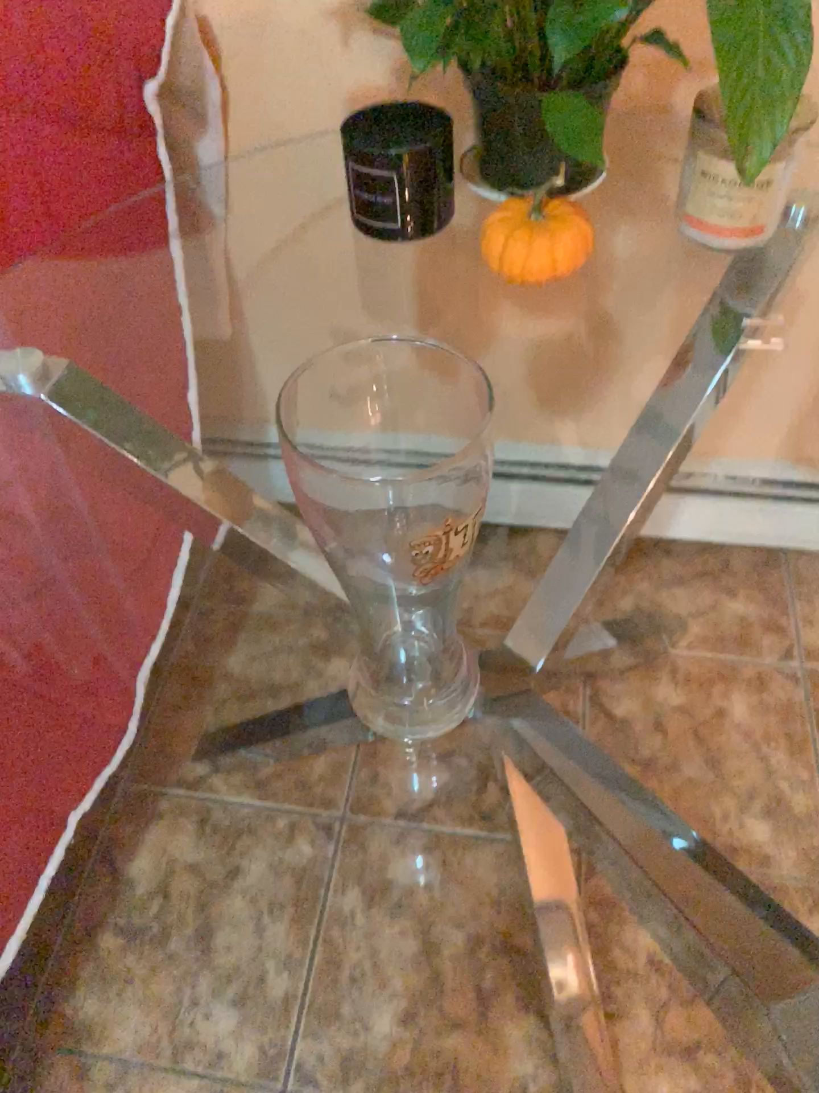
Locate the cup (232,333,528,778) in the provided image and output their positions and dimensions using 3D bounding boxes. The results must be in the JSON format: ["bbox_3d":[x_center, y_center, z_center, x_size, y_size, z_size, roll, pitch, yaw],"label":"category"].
[{"bbox_3d":[-0.003,0.016,0.408,0.100,0.211,0.093,-2,49,2],"label":"cup"}]
